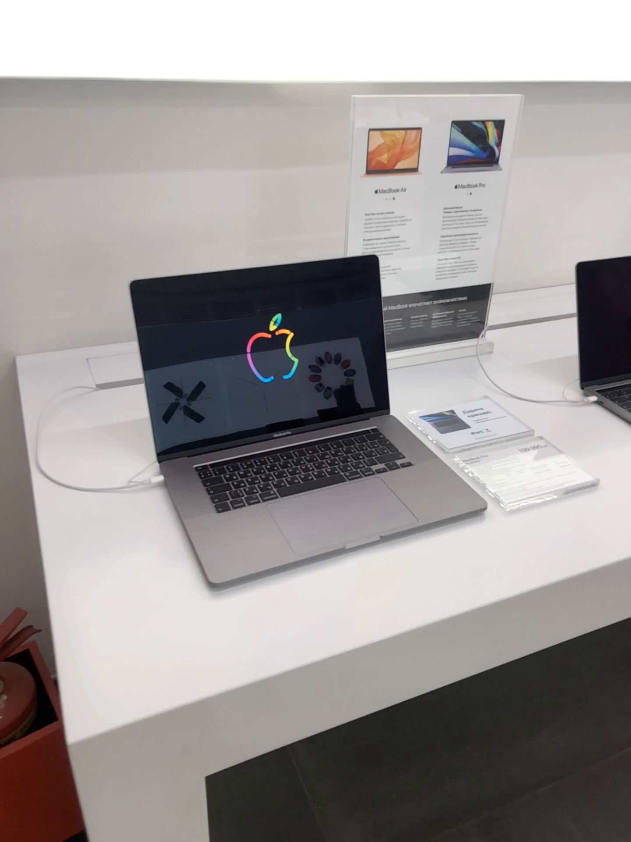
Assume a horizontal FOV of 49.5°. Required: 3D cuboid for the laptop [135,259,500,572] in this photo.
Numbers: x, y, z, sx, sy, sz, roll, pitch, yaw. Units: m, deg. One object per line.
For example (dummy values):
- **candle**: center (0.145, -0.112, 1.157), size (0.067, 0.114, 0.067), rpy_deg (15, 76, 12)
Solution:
- **laptop**: center (-0.016, -0.037, 0.854), size (0.328, 0.209, 0.311), rpy_deg (-11, 33, -22)
